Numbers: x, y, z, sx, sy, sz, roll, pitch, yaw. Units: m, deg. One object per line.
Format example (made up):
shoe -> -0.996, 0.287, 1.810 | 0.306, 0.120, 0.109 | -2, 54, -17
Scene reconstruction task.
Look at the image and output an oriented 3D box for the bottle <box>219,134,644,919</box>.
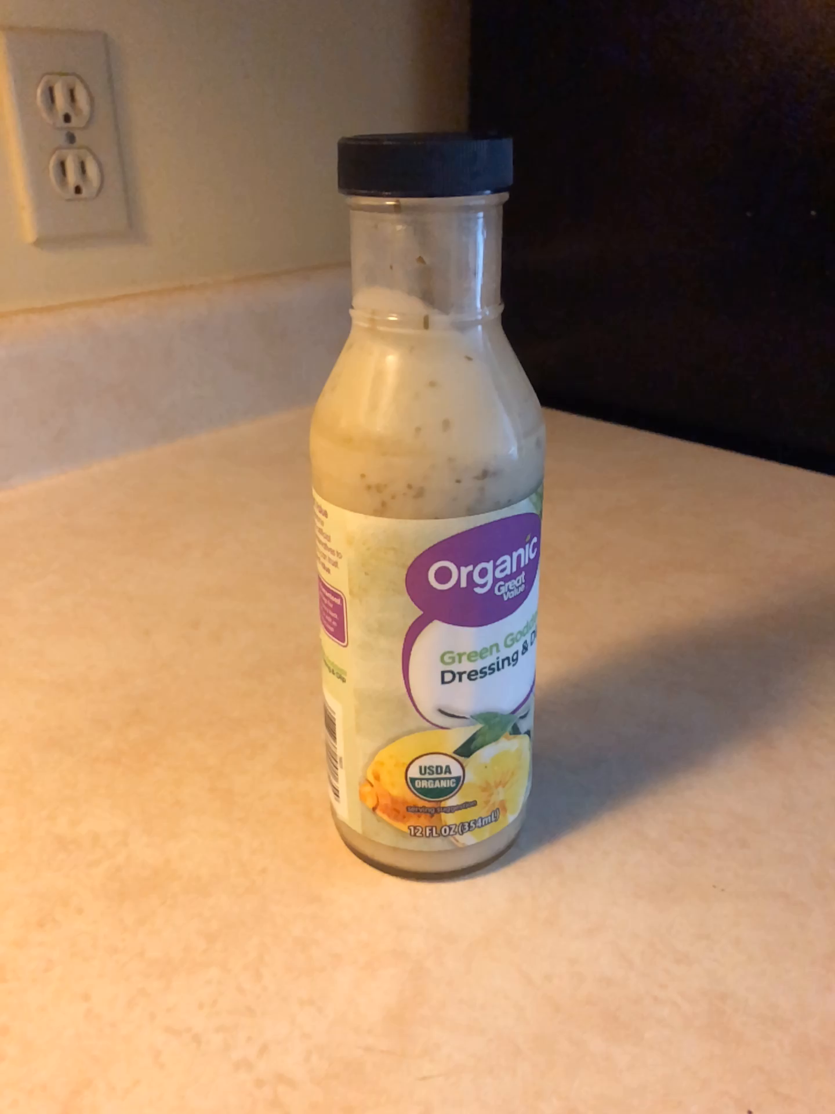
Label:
bottle -> 0.002, -0.010, 0.253 | 0.070, 0.189, 0.070 | -1, 25, 0
